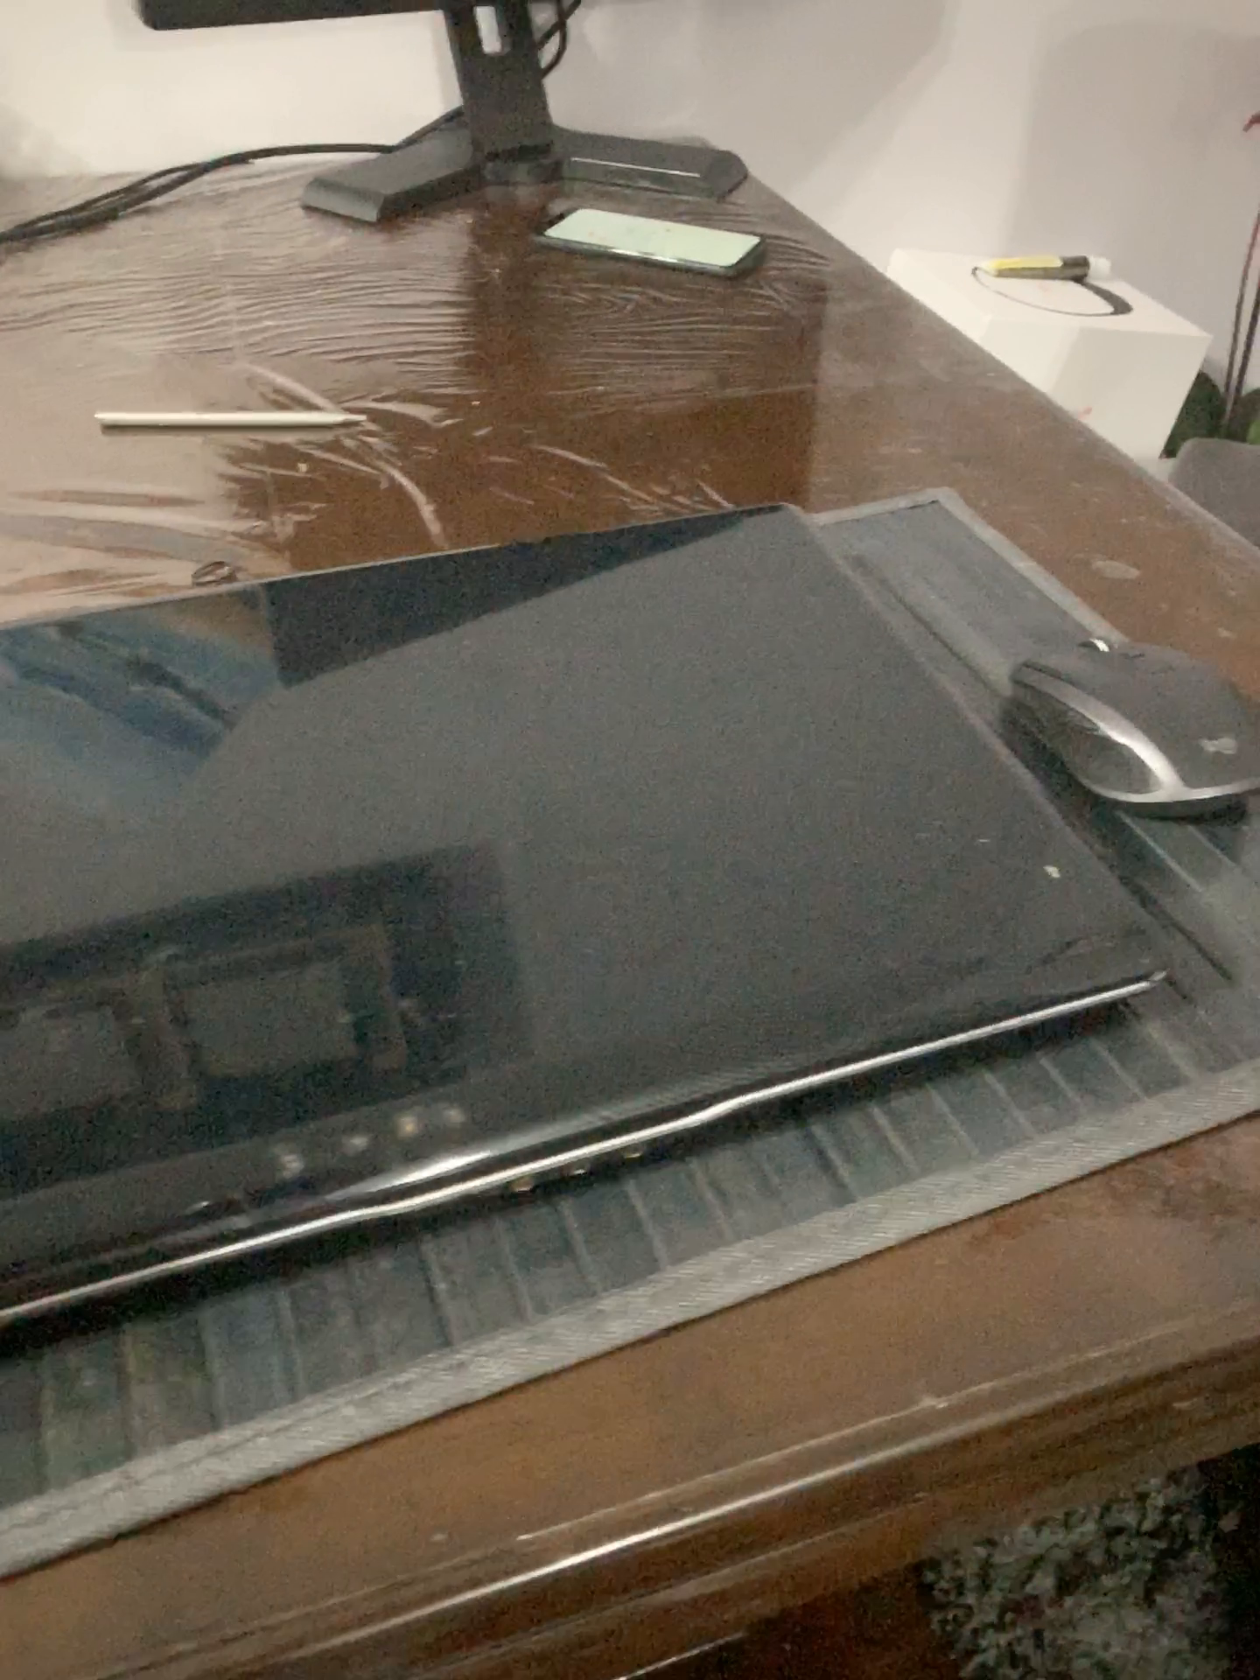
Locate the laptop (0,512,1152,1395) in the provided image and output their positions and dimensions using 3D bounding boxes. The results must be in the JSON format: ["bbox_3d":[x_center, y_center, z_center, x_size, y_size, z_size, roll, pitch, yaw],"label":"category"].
[{"bbox_3d":[-0.057,-0.011,0.370,0.339,0.009,0.232,-12,46,-18],"label":"laptop"}]
